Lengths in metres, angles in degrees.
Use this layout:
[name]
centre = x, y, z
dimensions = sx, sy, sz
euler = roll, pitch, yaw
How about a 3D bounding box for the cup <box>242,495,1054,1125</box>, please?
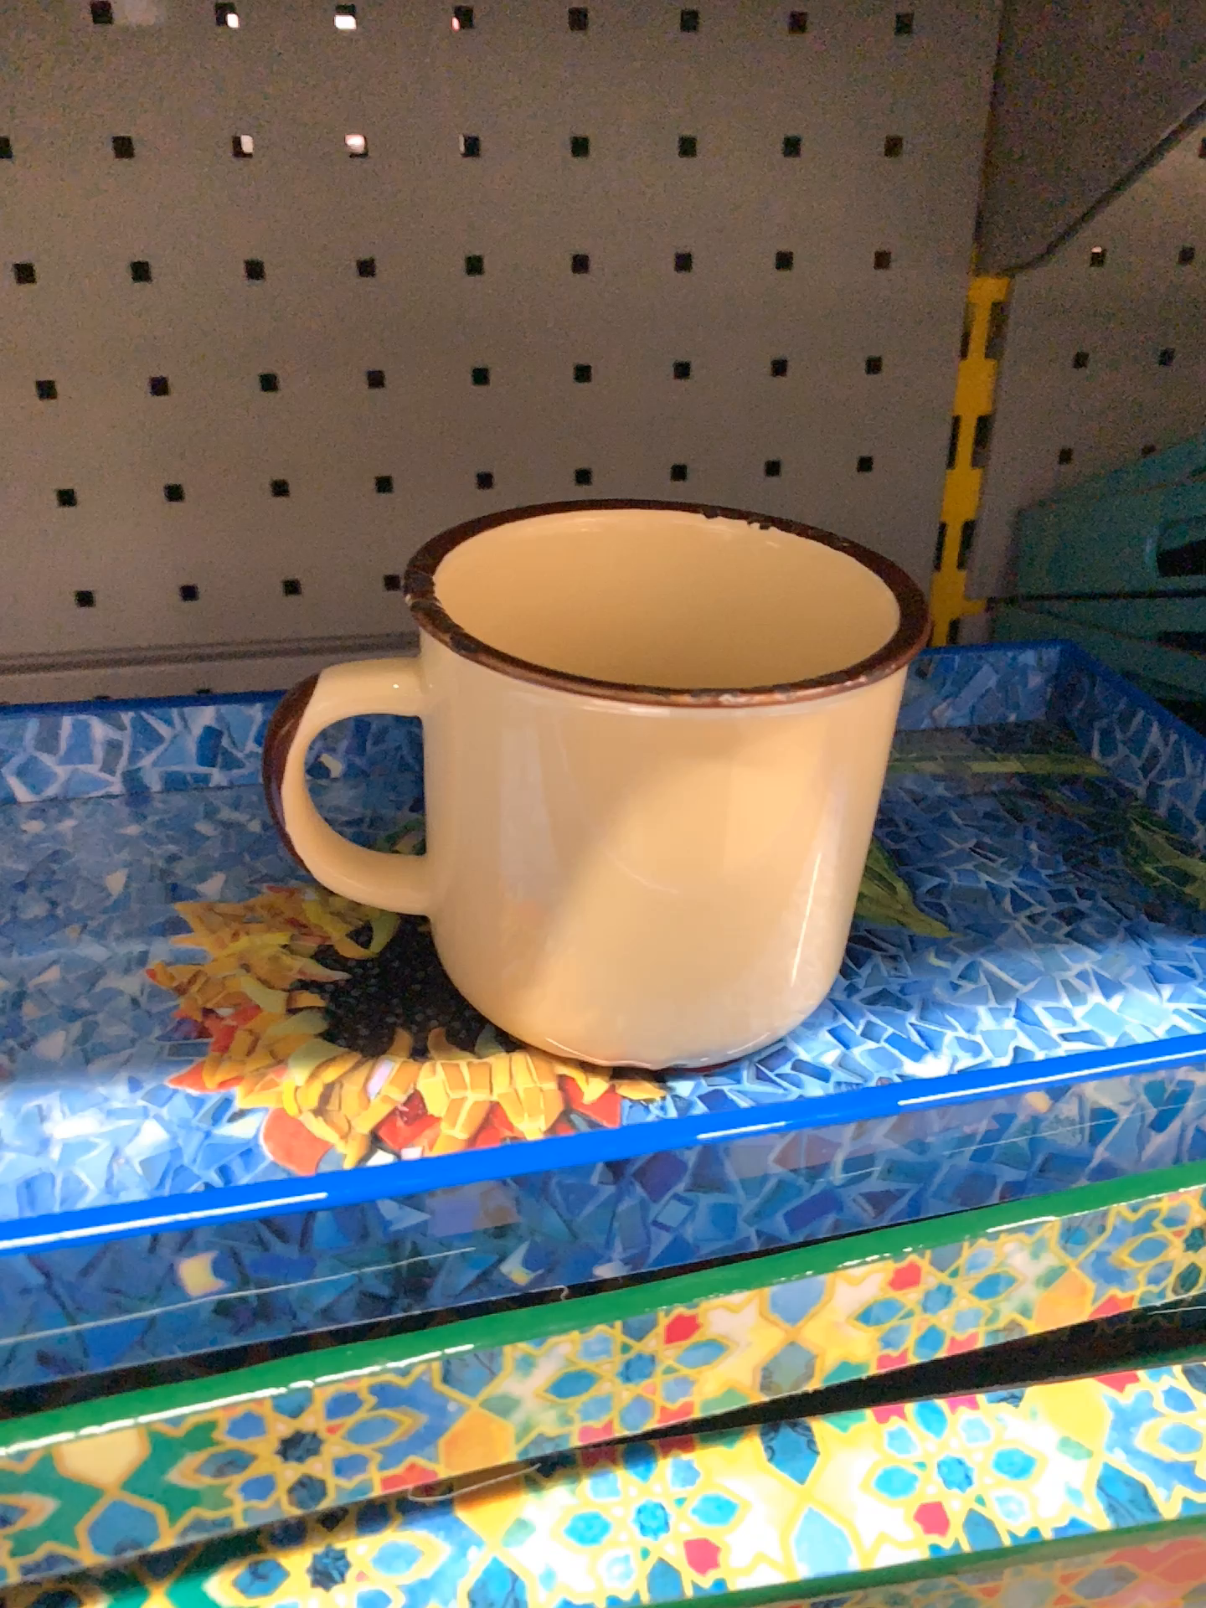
[cup]
centre = -0.001, -0.007, 0.220
dimensions = 0.110, 0.070, 0.090
euler = -4, 28, -11
